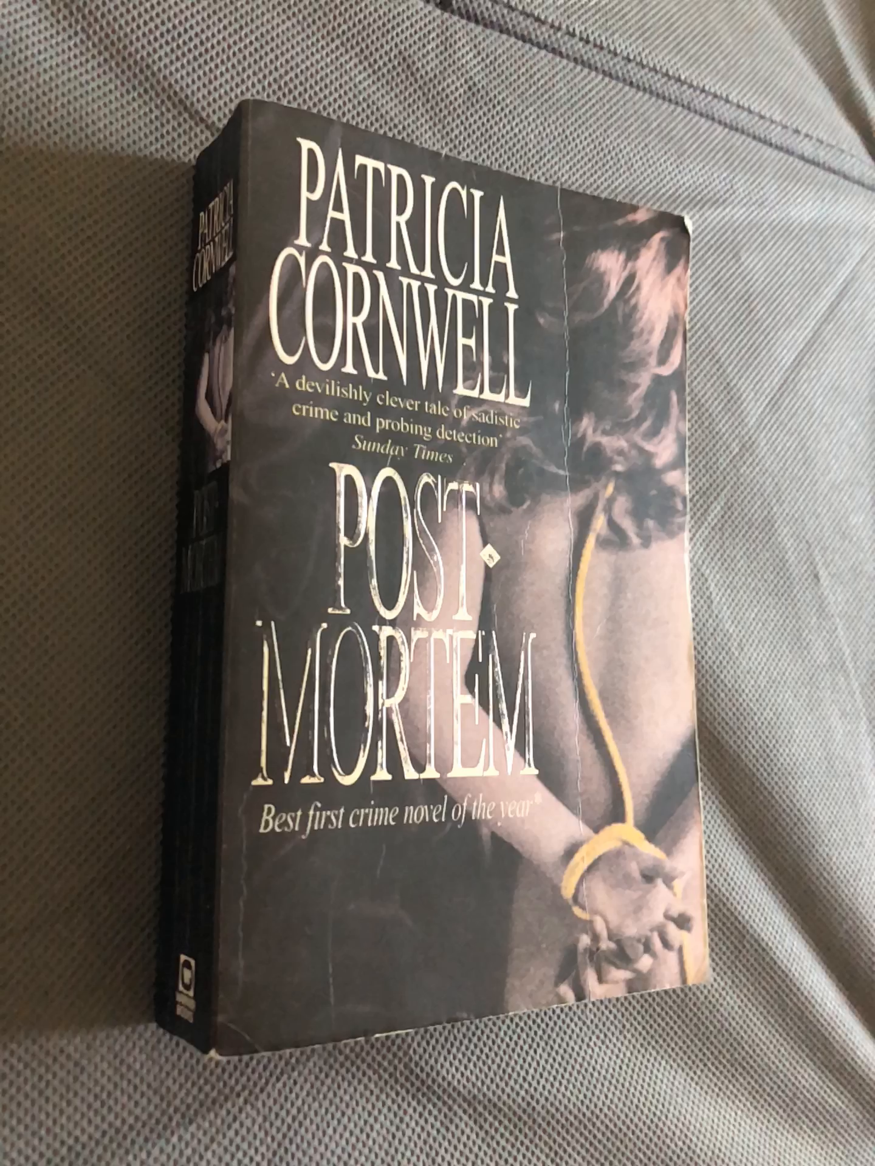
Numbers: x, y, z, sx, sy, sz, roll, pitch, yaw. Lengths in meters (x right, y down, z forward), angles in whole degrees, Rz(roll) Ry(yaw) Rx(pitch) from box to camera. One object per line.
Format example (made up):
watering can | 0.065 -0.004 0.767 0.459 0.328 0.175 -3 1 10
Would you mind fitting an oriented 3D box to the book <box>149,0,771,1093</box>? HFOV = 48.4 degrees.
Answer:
book | 0.005 -0.008 0.204 0.110 0.050 0.180 5 78 -29
